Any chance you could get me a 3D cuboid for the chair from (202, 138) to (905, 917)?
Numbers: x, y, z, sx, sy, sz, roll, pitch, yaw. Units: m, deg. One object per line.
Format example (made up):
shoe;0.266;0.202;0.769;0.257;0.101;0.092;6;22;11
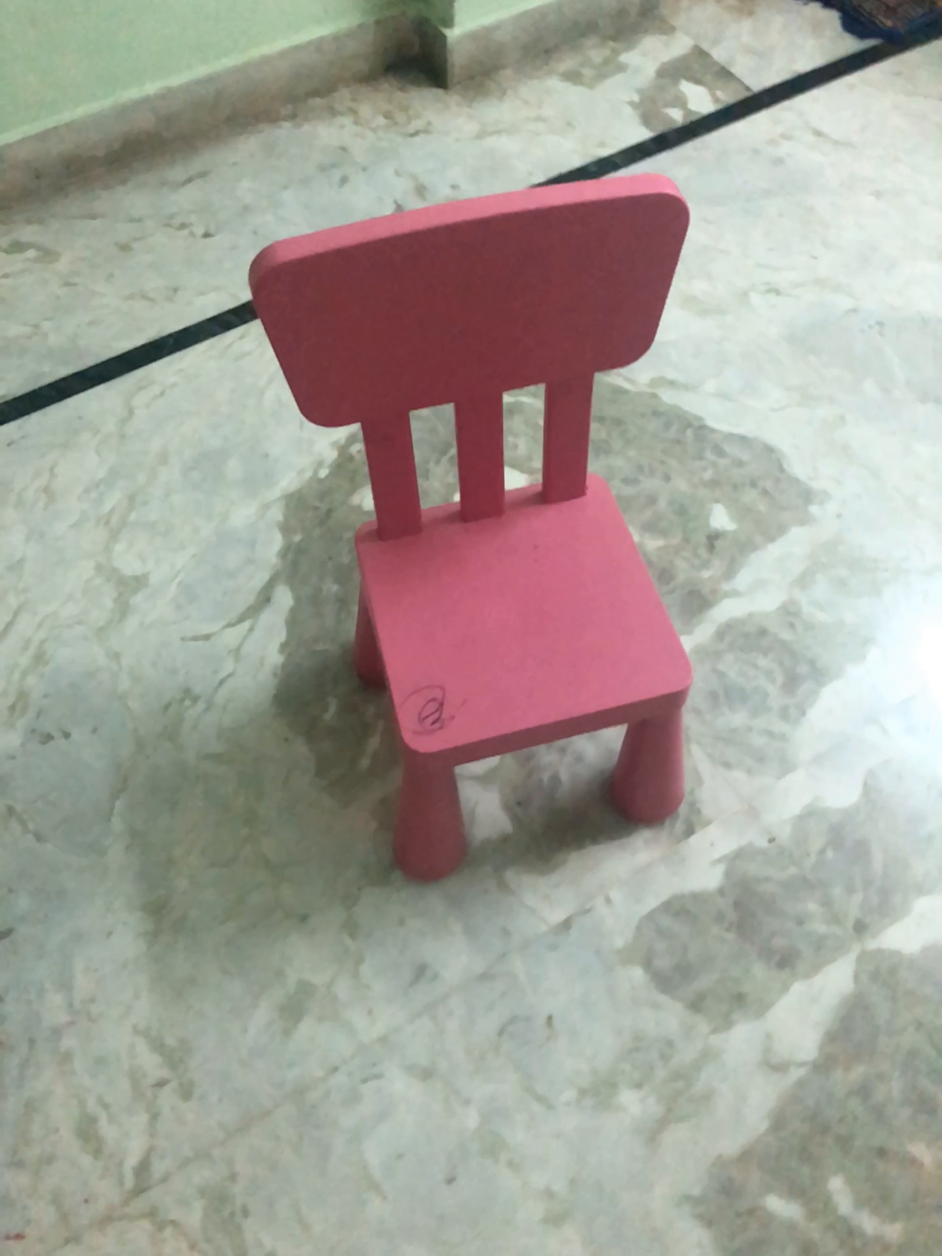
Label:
chair;0.037;-0.042;1.004;0.400;0.627;0.382;-14;60;-8
